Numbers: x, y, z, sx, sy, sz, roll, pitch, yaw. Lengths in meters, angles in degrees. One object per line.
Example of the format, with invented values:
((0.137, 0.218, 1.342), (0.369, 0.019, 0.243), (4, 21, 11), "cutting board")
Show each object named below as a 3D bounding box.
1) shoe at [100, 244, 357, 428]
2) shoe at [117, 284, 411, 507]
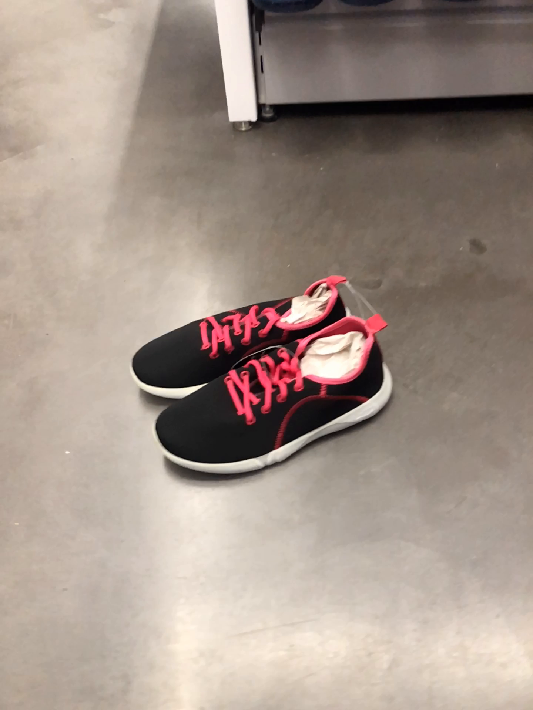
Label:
((-0.037, -0.021, 0.595), (0.230, 0.090, 0.100), (-15, 55, -7), "shoe")
((-0.002, 0.035, 0.534), (0.230, 0.090, 0.100), (-20, 55, -10), "shoe")
